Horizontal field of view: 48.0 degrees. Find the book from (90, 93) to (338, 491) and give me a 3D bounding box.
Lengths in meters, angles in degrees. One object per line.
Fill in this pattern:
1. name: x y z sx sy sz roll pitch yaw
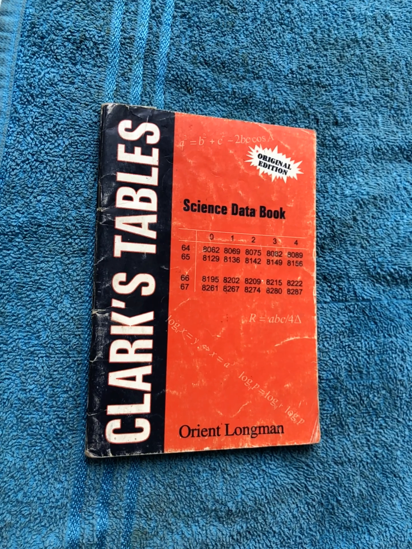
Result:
1. book: 0.006 0.007 0.240 0.120 0.030 0.180 2 84 -16
